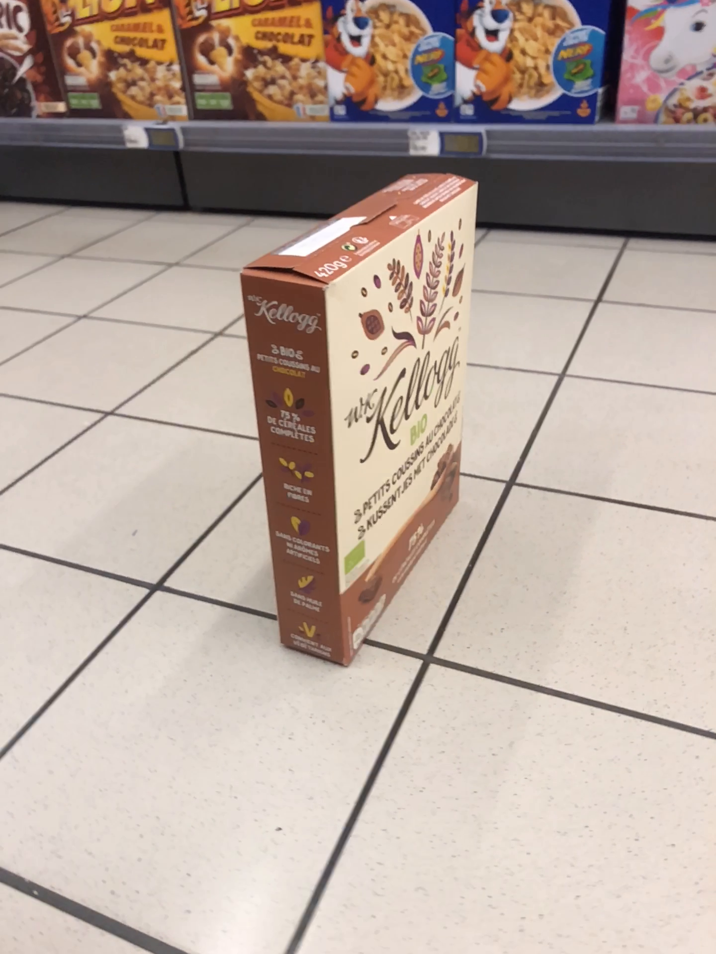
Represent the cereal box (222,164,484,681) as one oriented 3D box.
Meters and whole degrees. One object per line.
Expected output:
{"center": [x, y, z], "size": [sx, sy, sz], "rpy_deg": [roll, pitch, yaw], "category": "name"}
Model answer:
{"center": [0.011, -0.038, 0.486], "size": [0.050, 0.248, 0.201], "rpy_deg": [15, 37, 23], "category": "cereal box"}
